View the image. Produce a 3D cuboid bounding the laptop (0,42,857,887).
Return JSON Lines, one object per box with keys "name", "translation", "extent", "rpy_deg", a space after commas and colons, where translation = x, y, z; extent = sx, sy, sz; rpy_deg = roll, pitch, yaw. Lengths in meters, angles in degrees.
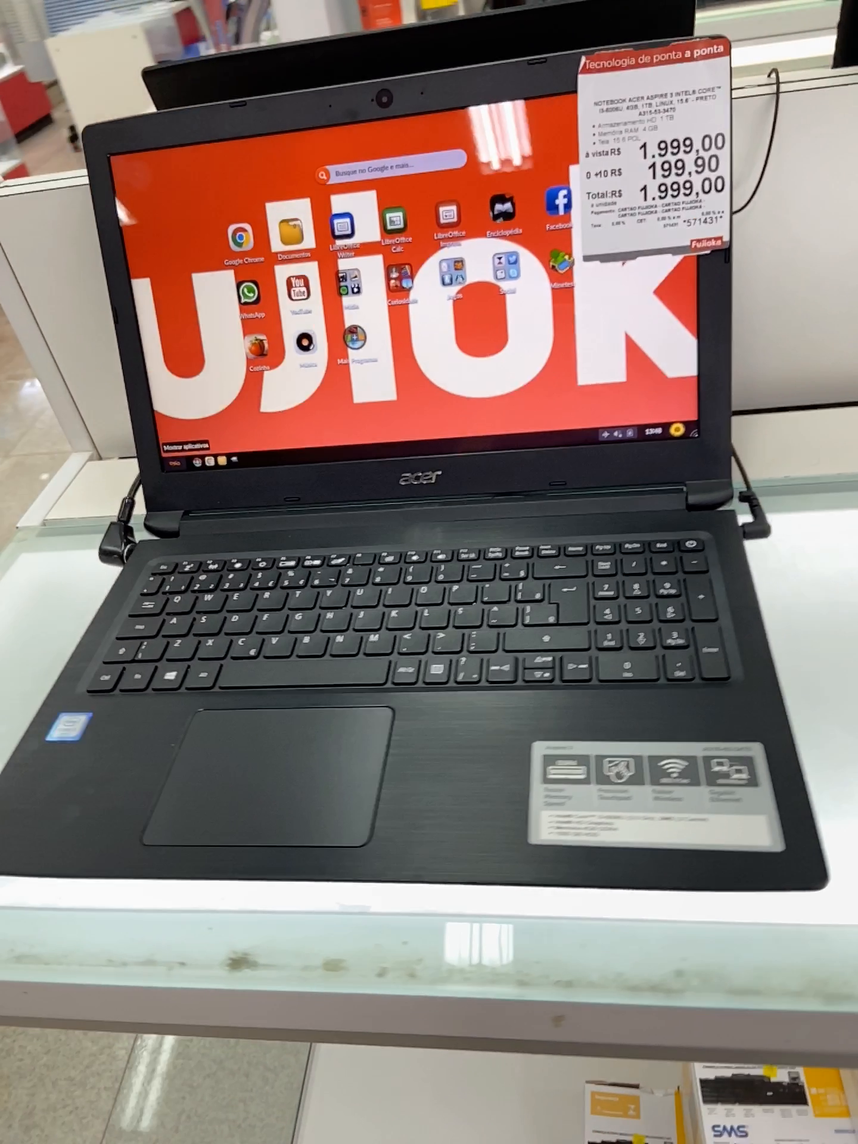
{"name": "laptop", "translation": [-0.033, -0.076, 0.446], "extent": [0.392, 0.230, 0.372], "rpy_deg": [-3, 39, 11]}
